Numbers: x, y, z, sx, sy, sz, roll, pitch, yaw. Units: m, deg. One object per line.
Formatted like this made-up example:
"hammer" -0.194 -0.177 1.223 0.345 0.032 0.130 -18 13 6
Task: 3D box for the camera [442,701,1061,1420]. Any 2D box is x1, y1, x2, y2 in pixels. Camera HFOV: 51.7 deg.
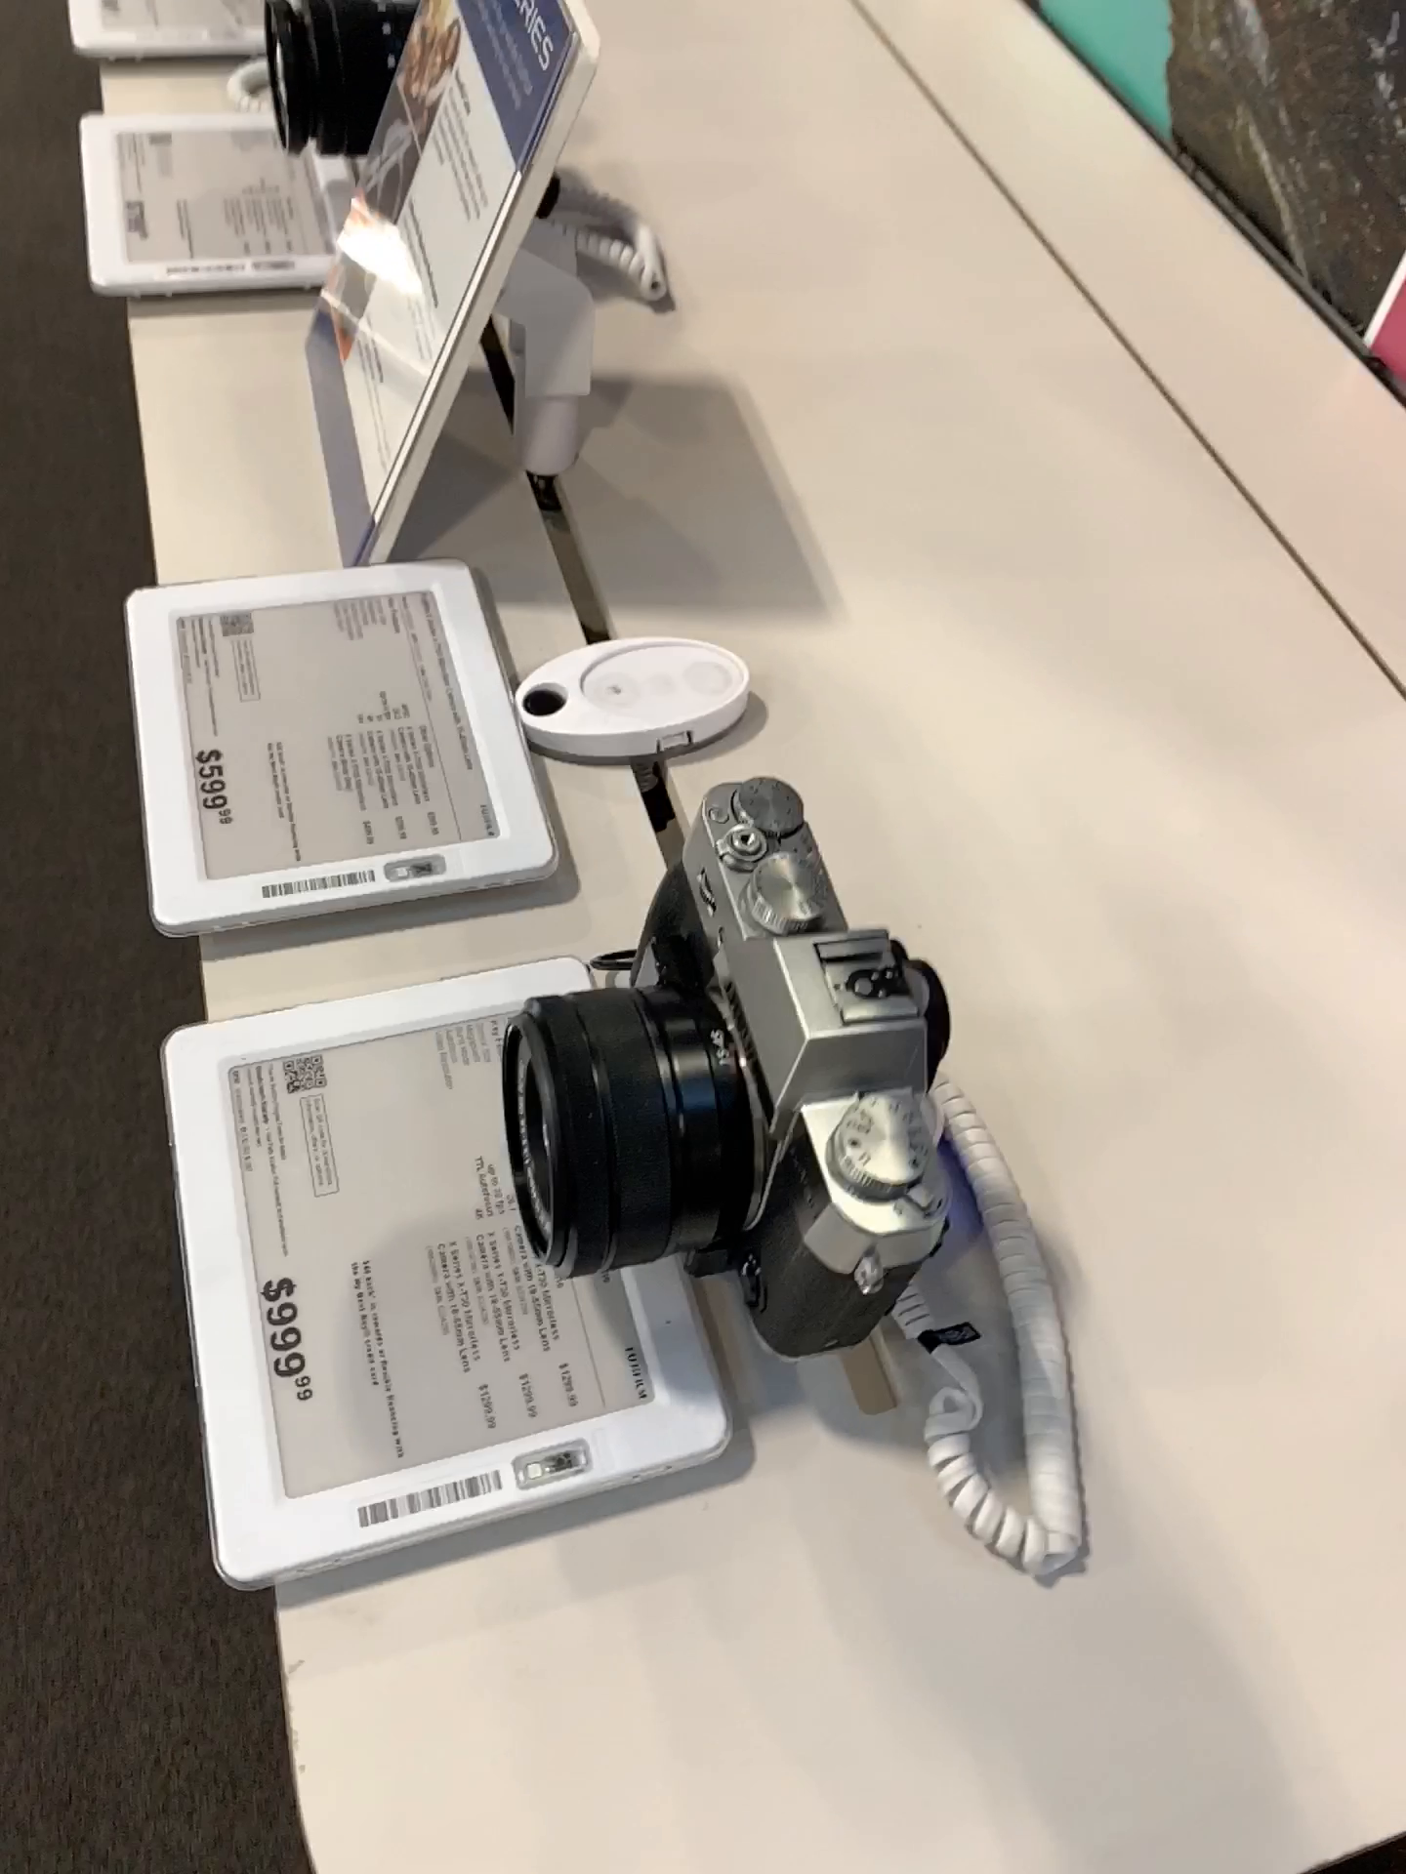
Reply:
"camera" 0.001 0.025 0.340 0.100 0.080 0.131 -9 55 -13
